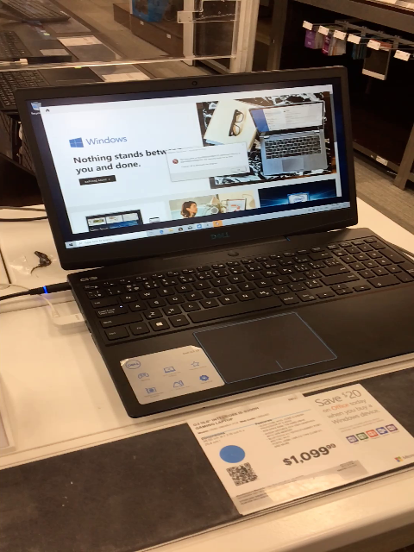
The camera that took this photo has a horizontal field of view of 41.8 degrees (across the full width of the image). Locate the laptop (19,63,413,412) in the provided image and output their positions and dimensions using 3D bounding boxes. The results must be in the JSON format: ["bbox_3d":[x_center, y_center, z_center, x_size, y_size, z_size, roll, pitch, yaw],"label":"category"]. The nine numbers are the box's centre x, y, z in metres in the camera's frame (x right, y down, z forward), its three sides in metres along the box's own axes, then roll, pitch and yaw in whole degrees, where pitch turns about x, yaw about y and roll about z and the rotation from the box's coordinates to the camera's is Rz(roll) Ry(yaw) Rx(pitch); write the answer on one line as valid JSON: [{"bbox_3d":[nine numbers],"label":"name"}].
[{"bbox_3d":[0.059,-0.078,0.602,0.416,0.198,0.360,-13,40,-16],"label":"laptop"}]
